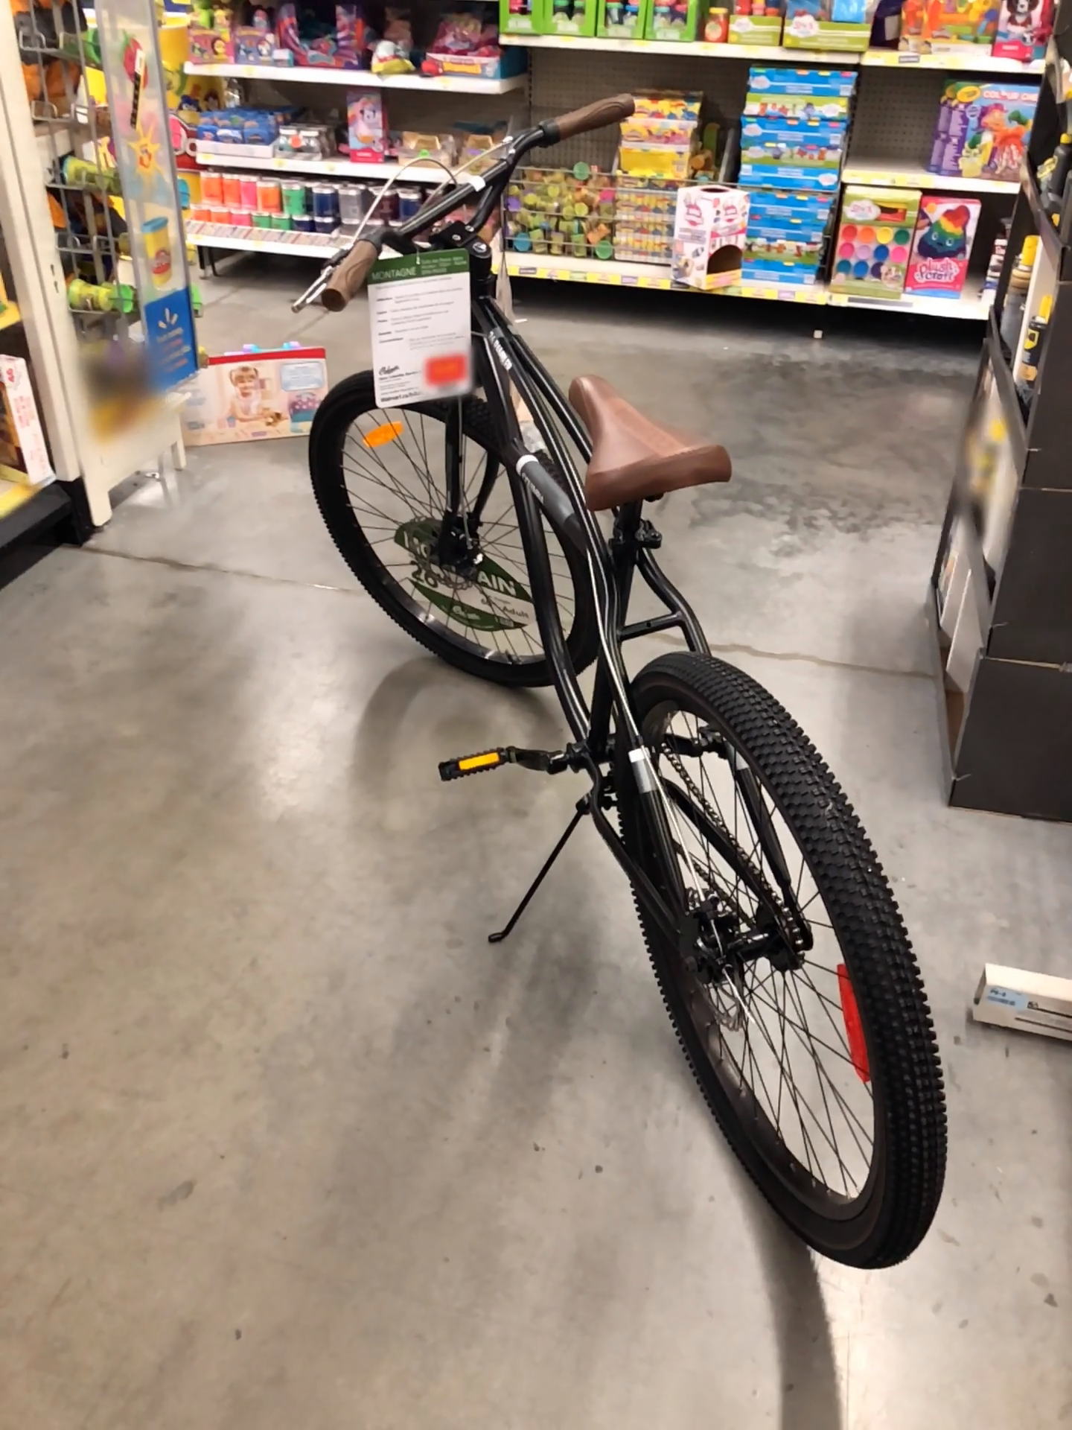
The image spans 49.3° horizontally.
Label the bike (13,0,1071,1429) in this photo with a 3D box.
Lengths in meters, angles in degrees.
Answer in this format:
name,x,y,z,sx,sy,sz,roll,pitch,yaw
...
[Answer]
name,x,y,z,sx,sy,sz,roll,pitch,yaw
bike,-0.065,-0.223,1.423,0.652,0.975,1.592,-14,42,-21
